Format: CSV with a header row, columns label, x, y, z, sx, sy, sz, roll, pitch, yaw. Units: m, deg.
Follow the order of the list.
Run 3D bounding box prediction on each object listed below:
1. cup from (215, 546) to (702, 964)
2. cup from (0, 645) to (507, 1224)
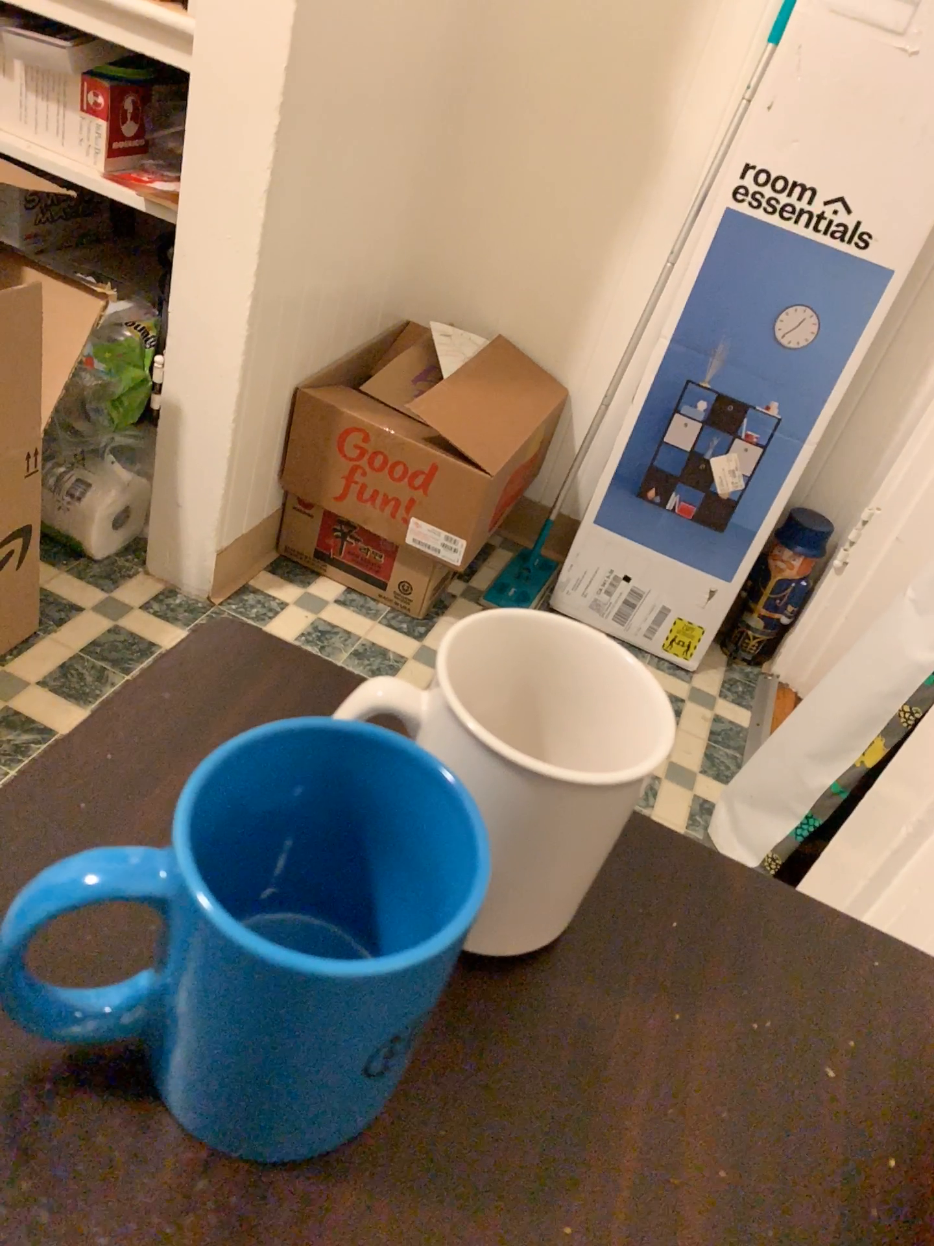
label,x,y,z,sx,sy,sz,roll,pitch,yaw
cup,-0.012,0.048,0.328,0.130,0.099,0.091,6,37,-17
cup,-0.080,0.078,0.249,0.140,0.099,0.090,5,37,-19
